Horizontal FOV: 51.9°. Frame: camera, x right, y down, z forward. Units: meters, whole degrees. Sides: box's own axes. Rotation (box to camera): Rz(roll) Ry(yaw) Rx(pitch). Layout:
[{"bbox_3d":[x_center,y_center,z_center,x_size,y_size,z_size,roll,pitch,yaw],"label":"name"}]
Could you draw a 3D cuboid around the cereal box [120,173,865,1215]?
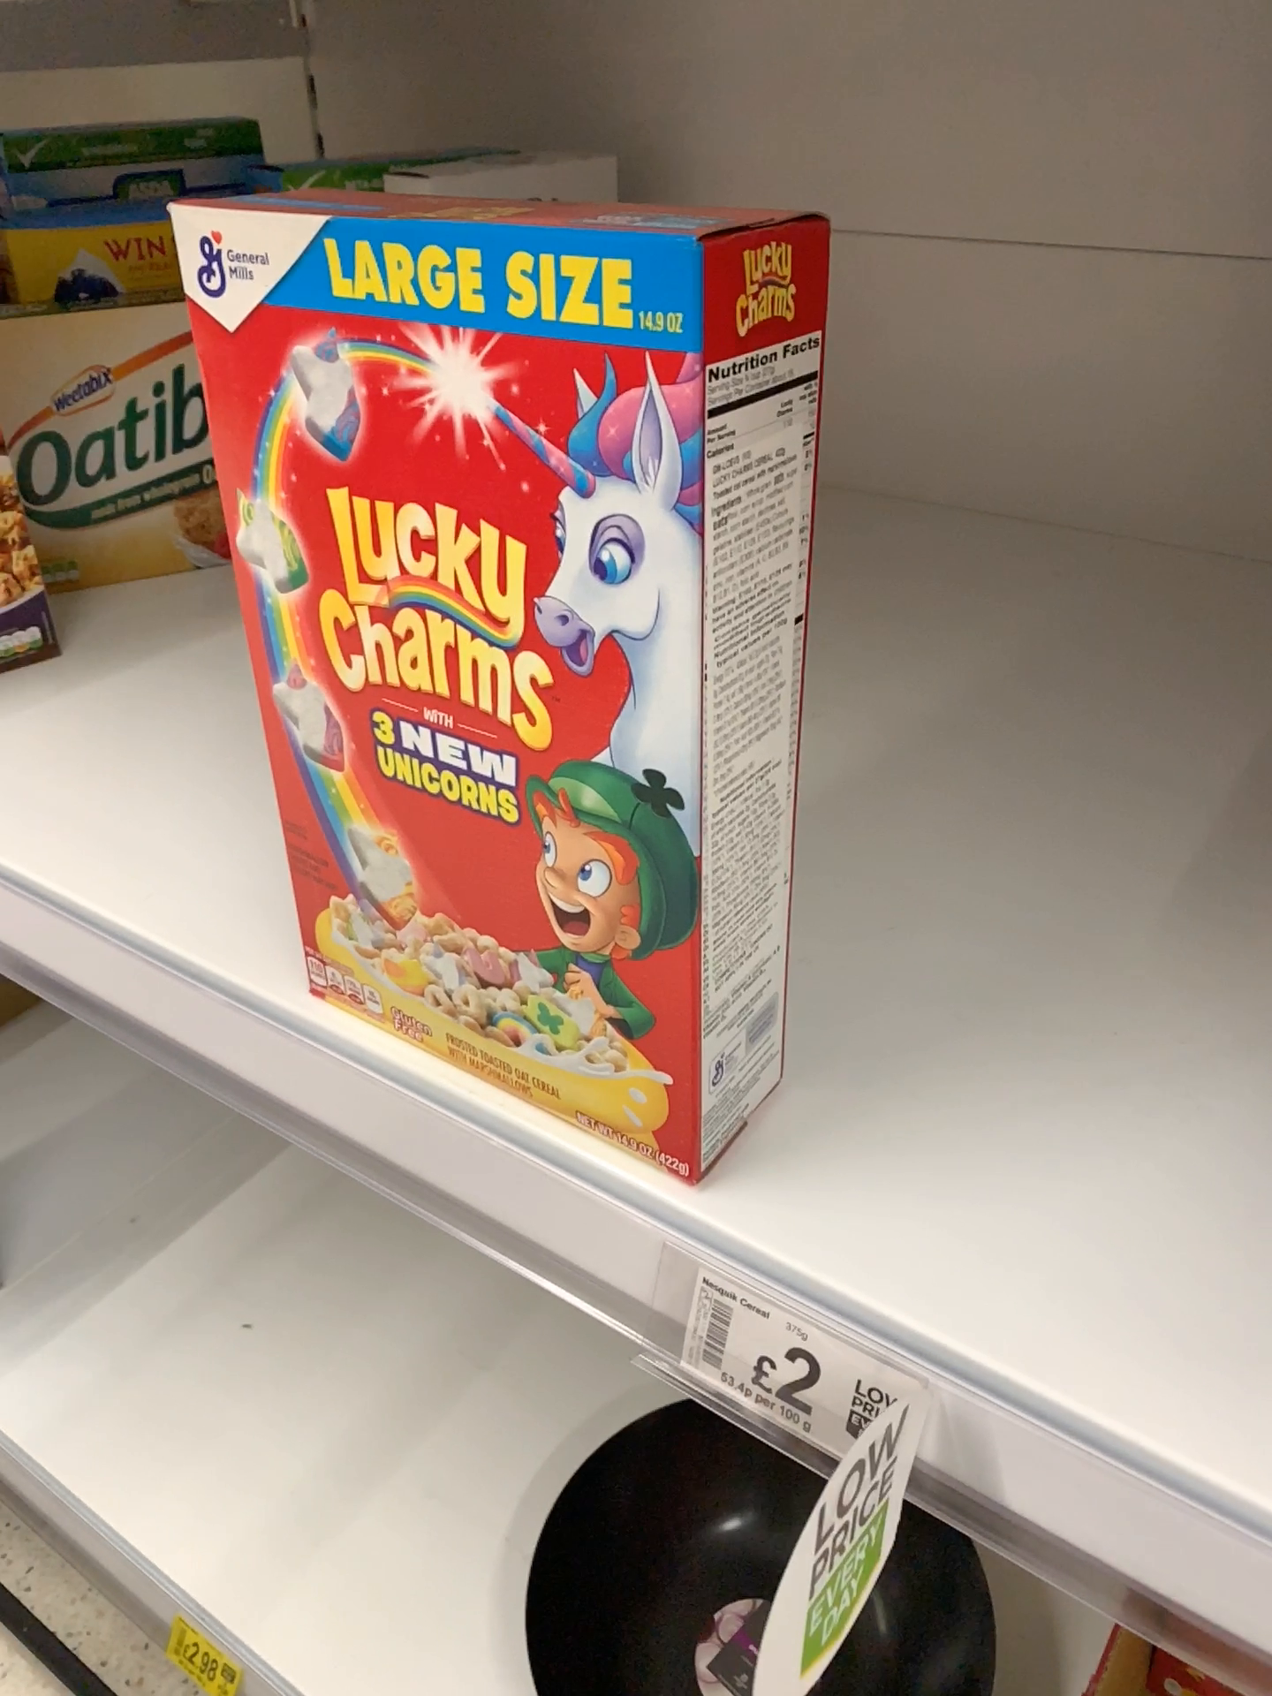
[{"bbox_3d":[-0.046,-0.052,0.436,0.211,0.297,0.070,20,36,30],"label":"cereal box"}]
